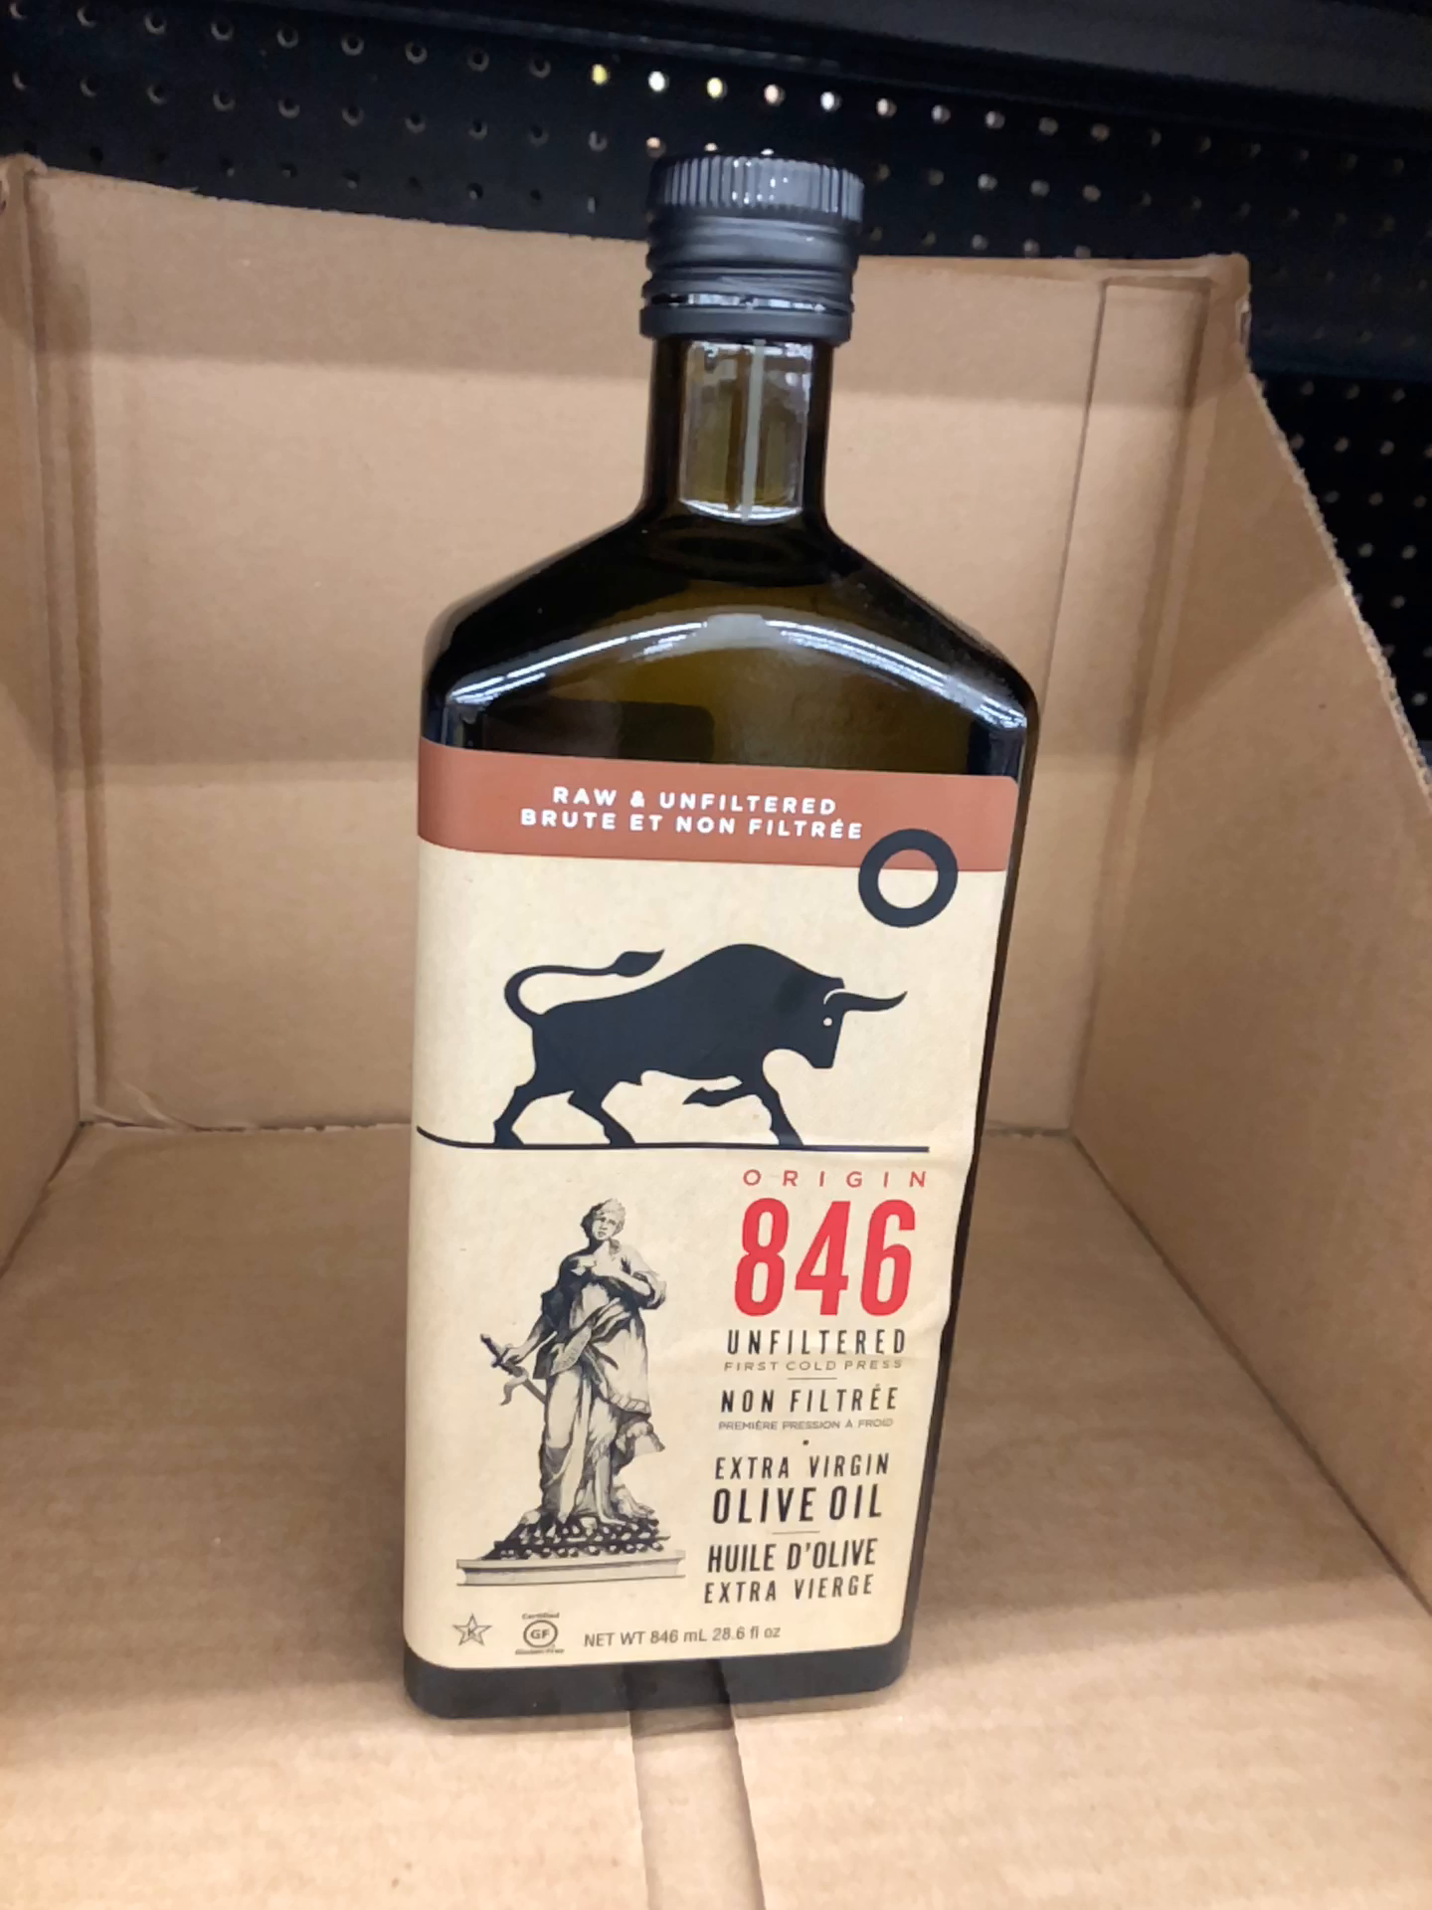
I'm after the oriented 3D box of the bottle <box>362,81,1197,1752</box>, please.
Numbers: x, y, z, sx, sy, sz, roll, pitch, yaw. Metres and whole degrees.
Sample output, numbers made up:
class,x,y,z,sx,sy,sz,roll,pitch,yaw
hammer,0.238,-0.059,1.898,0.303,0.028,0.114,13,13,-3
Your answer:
class,x,y,z,sx,sy,sz,roll,pitch,yaw
bottle,-0.004,0.007,0.260,0.100,0.248,0.060,1,20,-11
